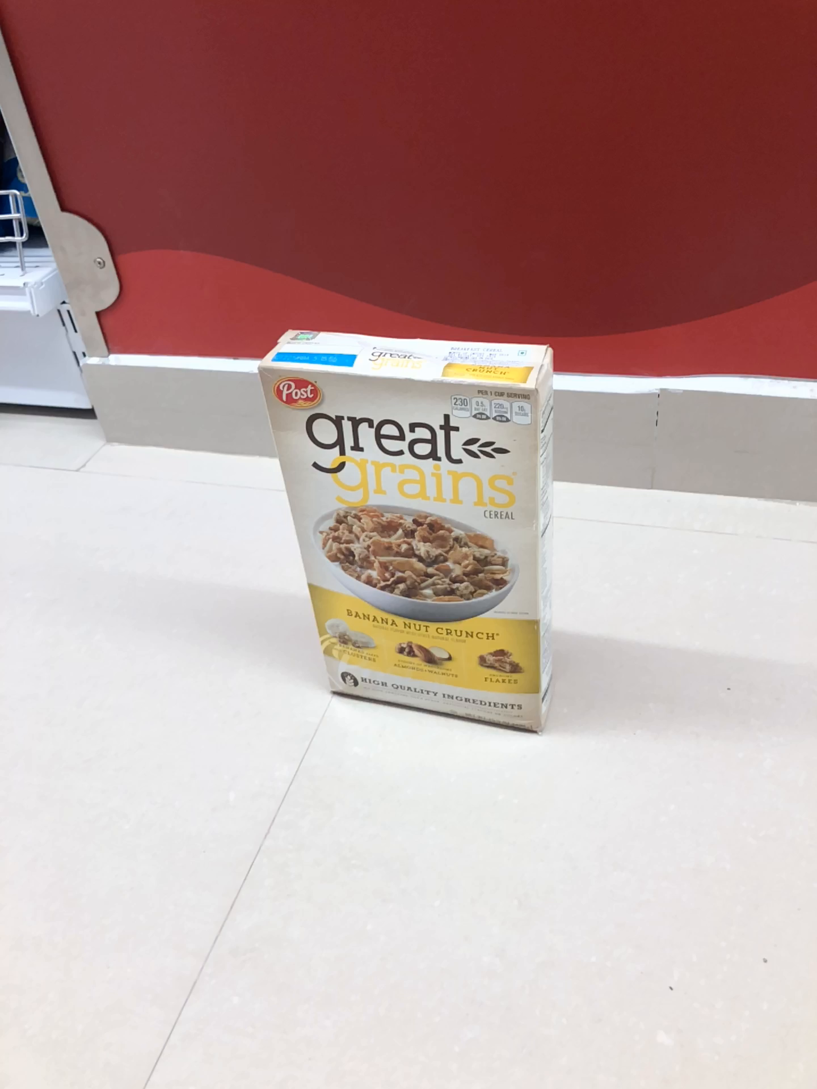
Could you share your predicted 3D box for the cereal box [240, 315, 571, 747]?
[{"bbox_3d":[0.010,0.000,0.542,0.160,0.258,0.060,7,40,17],"label":"cereal box"}]
